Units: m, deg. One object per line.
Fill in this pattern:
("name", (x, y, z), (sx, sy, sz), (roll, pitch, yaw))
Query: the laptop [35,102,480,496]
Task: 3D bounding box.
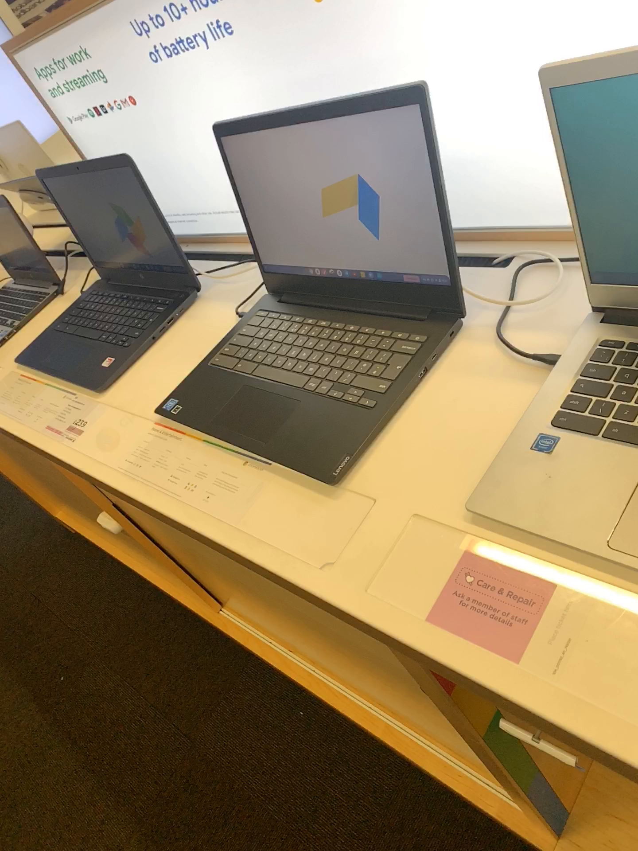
("laptop", (-0.065, -0.141, 0.684), (0.317, 0.201, 0.281), (17, 61, 45))
